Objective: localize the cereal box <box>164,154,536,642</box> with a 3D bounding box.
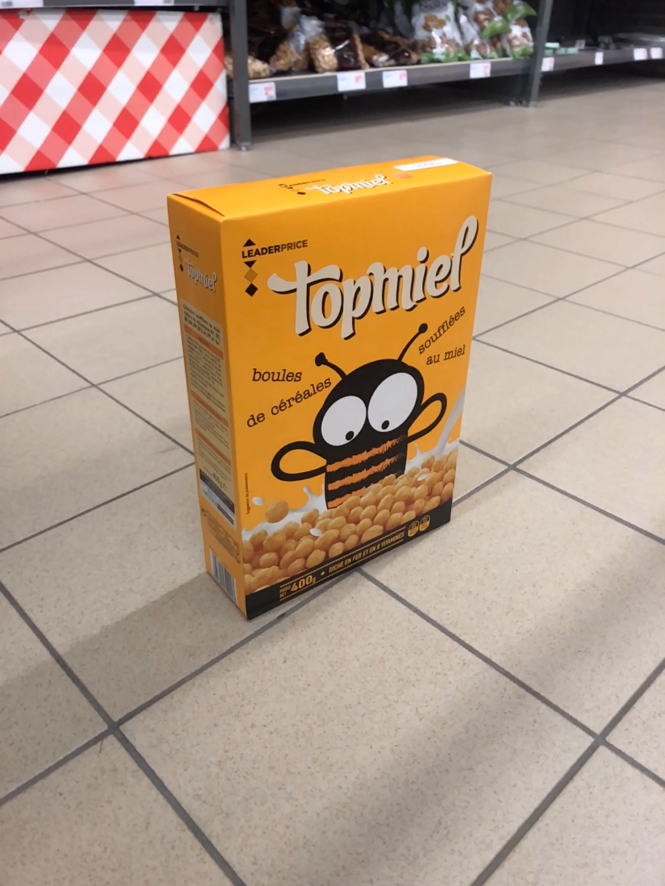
[{"bbox_3d":[0.016,-0.031,0.474,0.211,0.268,0.060,-19,36,-30],"label":"cereal box"}]
